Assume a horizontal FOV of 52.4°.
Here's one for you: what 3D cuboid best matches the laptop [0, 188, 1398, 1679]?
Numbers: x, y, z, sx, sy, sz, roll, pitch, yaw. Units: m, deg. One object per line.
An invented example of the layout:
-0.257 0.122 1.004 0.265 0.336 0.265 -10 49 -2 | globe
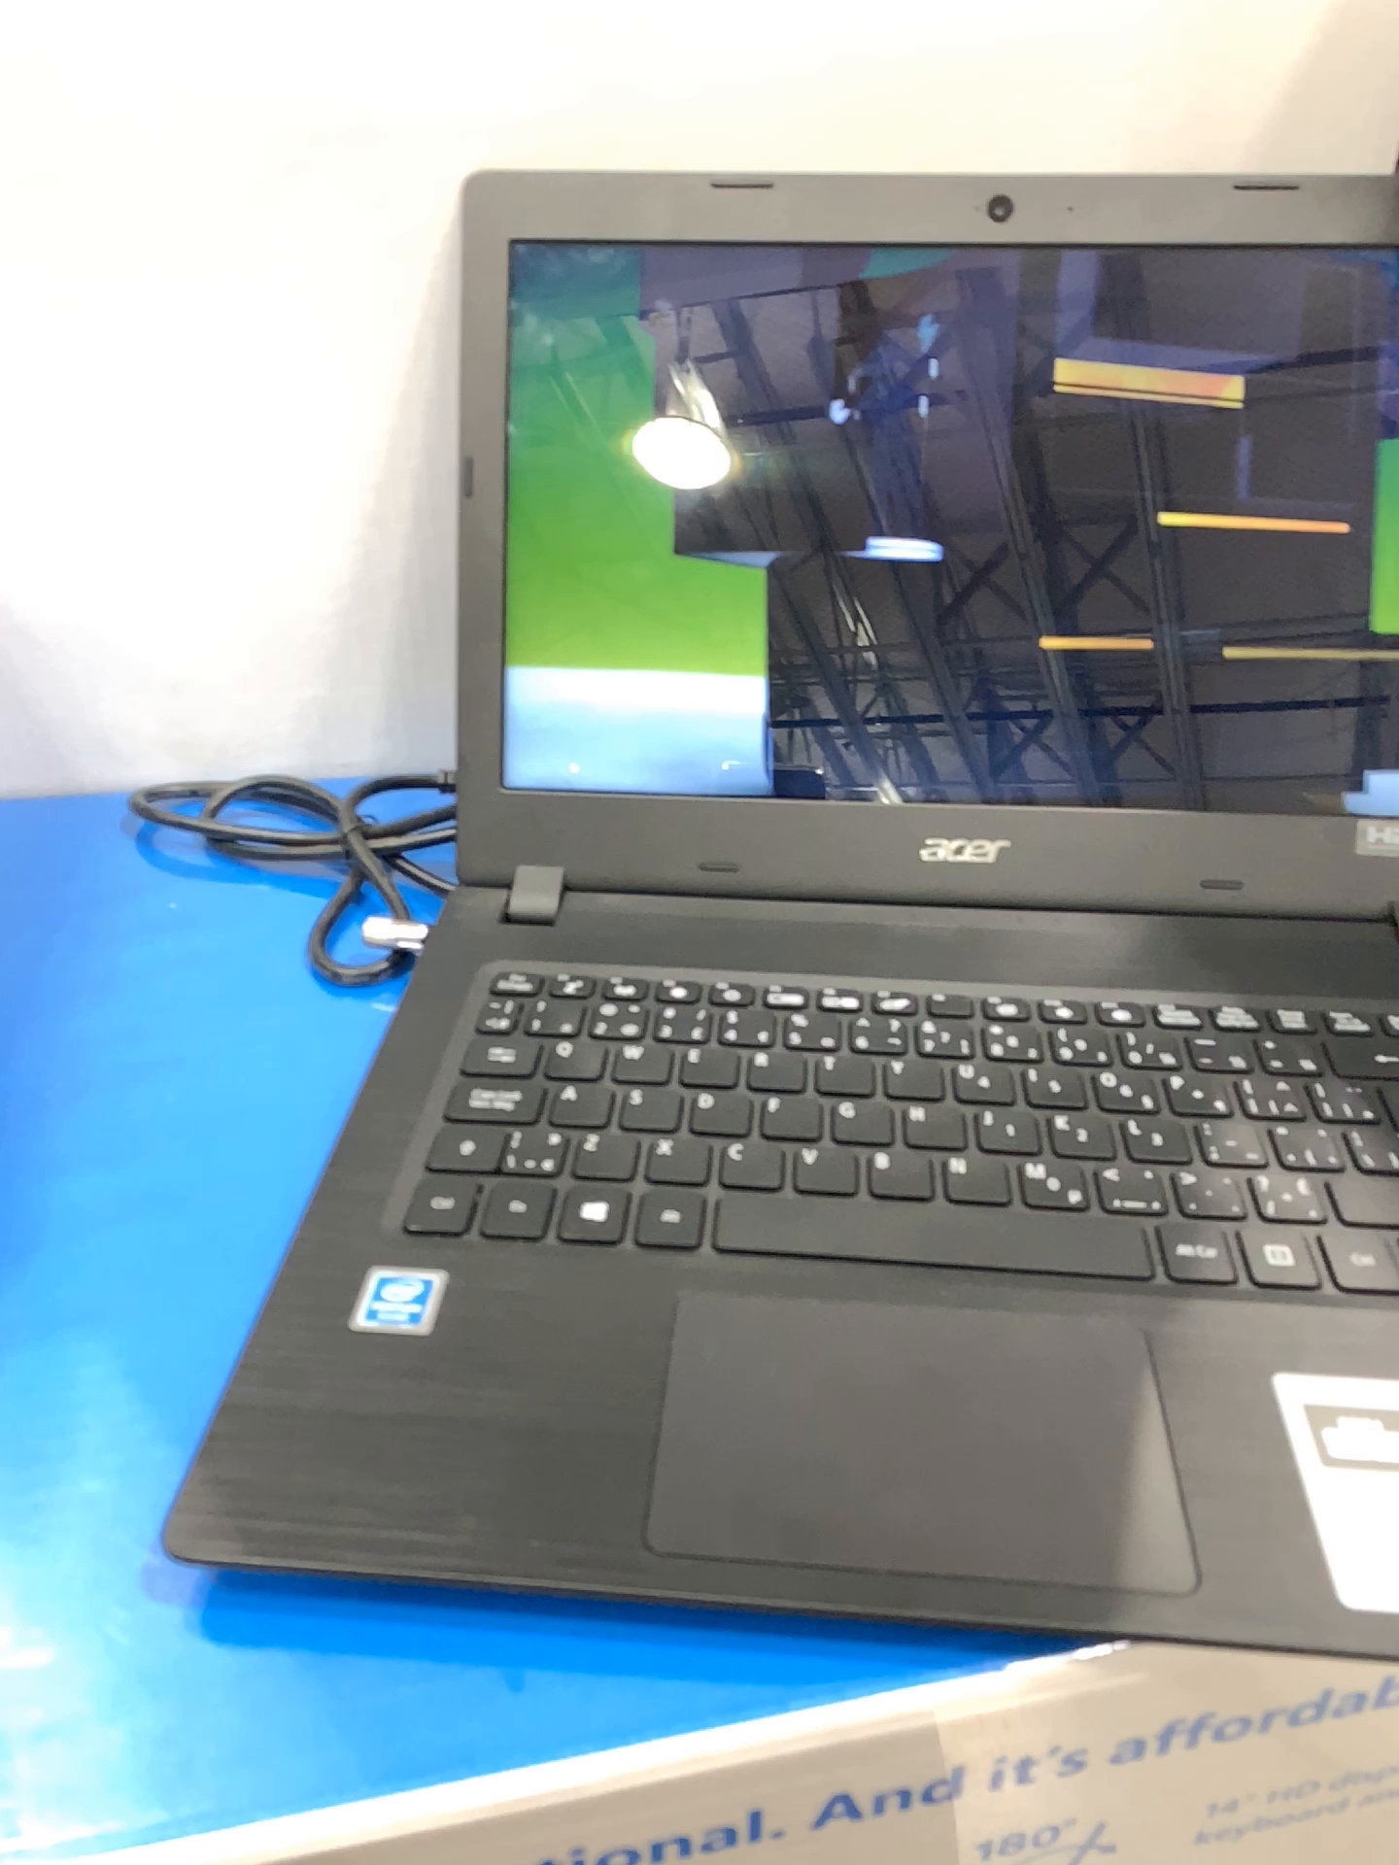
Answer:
0.077 -0.050 0.334 0.318 0.186 0.329 3 34 4 | laptop
